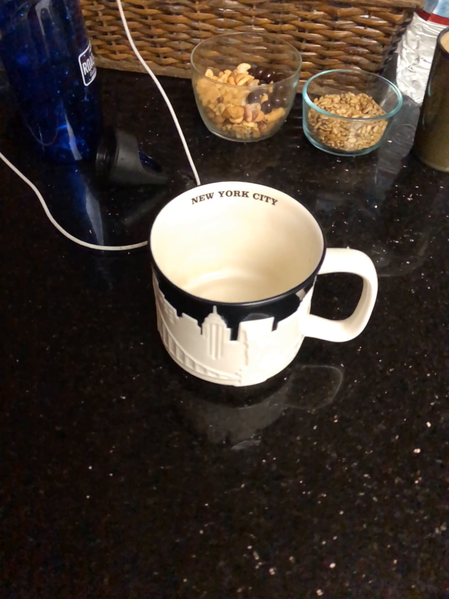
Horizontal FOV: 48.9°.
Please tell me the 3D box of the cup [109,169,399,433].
[{"bbox_3d":[0.024,-0.002,0.324,0.150,0.090,0.121,10,52,7],"label":"cup"}]
